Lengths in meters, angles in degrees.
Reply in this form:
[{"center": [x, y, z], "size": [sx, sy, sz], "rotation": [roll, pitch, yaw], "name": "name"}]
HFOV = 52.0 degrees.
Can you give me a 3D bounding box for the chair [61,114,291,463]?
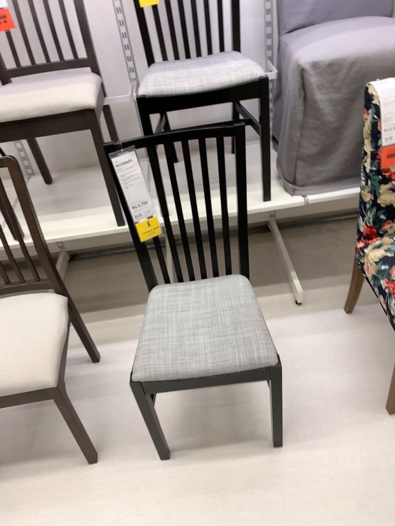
[{"center": [0.005, 0.111, 1.257], "size": [0.440, 0.896, 0.552], "rotation": [-7, 38, 3], "name": "chair"}]
